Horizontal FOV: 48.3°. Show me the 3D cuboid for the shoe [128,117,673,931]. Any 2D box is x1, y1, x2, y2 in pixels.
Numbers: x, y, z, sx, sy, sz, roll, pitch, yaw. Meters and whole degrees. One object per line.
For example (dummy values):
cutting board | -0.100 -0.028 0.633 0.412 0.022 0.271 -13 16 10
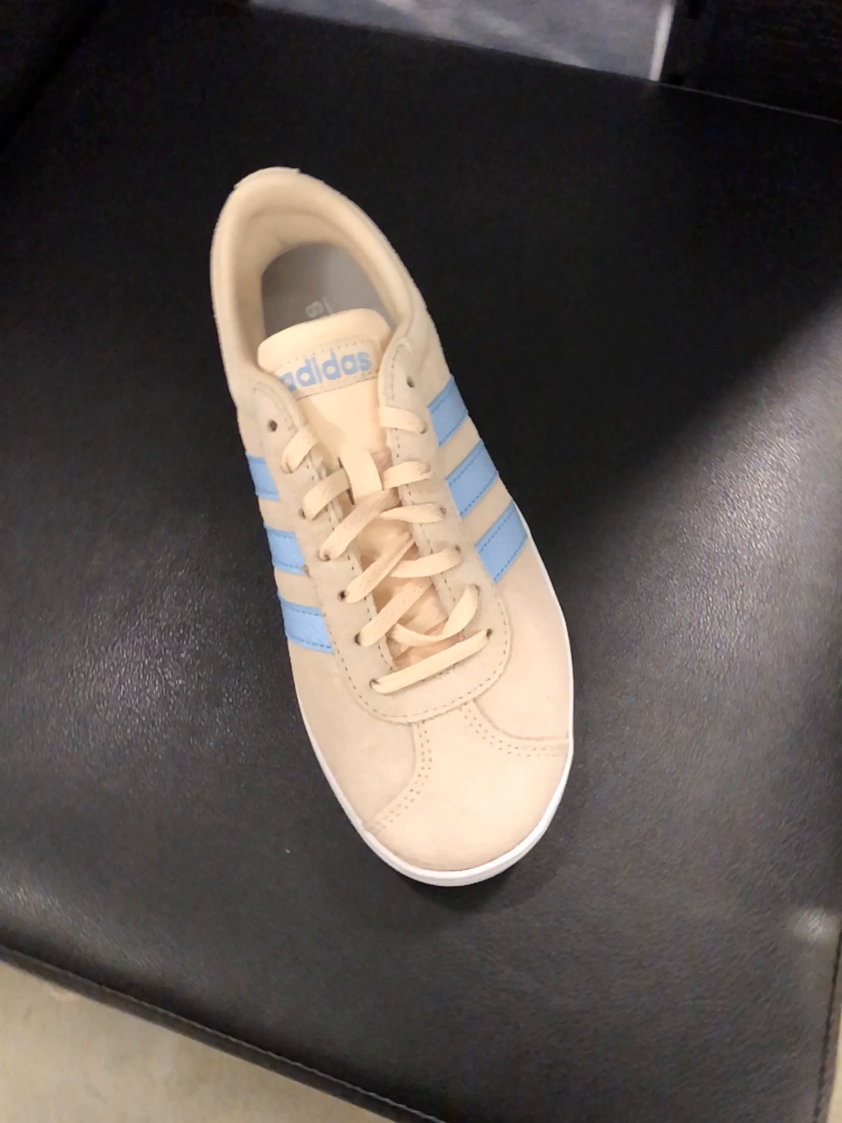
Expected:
shoe | -0.019 -0.021 0.334 0.100 0.090 0.260 -17 66 -5
